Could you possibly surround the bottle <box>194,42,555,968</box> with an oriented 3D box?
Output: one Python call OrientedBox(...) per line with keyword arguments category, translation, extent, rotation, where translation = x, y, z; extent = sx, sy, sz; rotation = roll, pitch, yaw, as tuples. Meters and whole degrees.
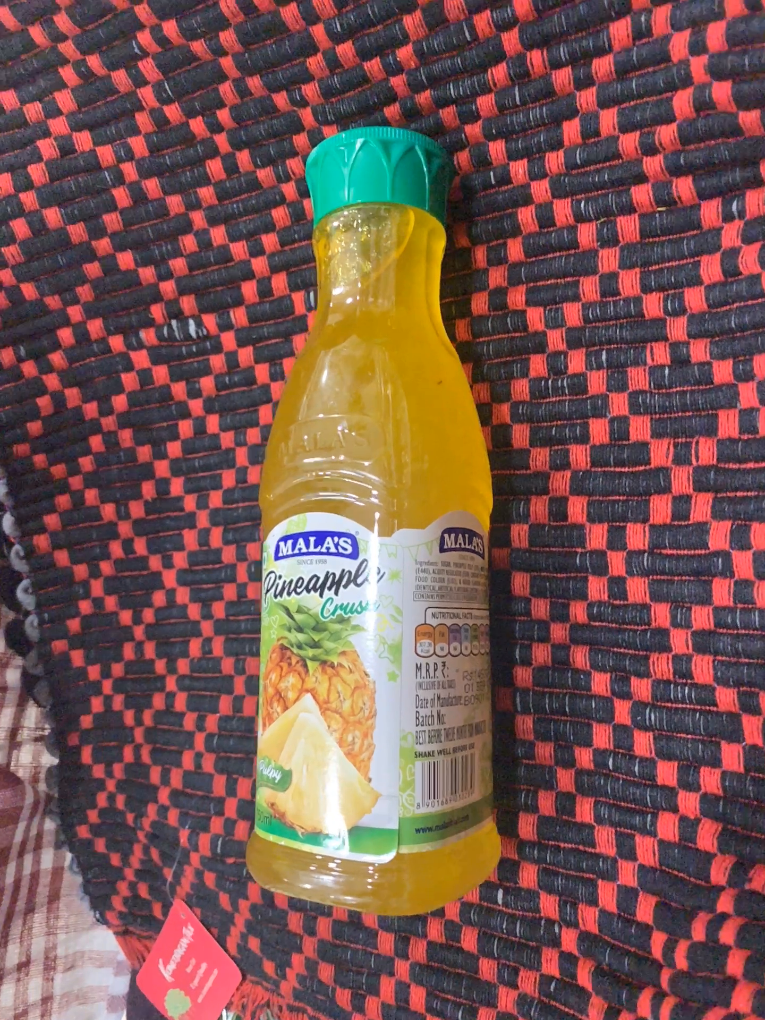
OrientedBox(category="bottle", translation=(0.000, -0.003, 0.245), extent=(0.080, 0.070, 0.230), rotation=(-5, 81, 30))
